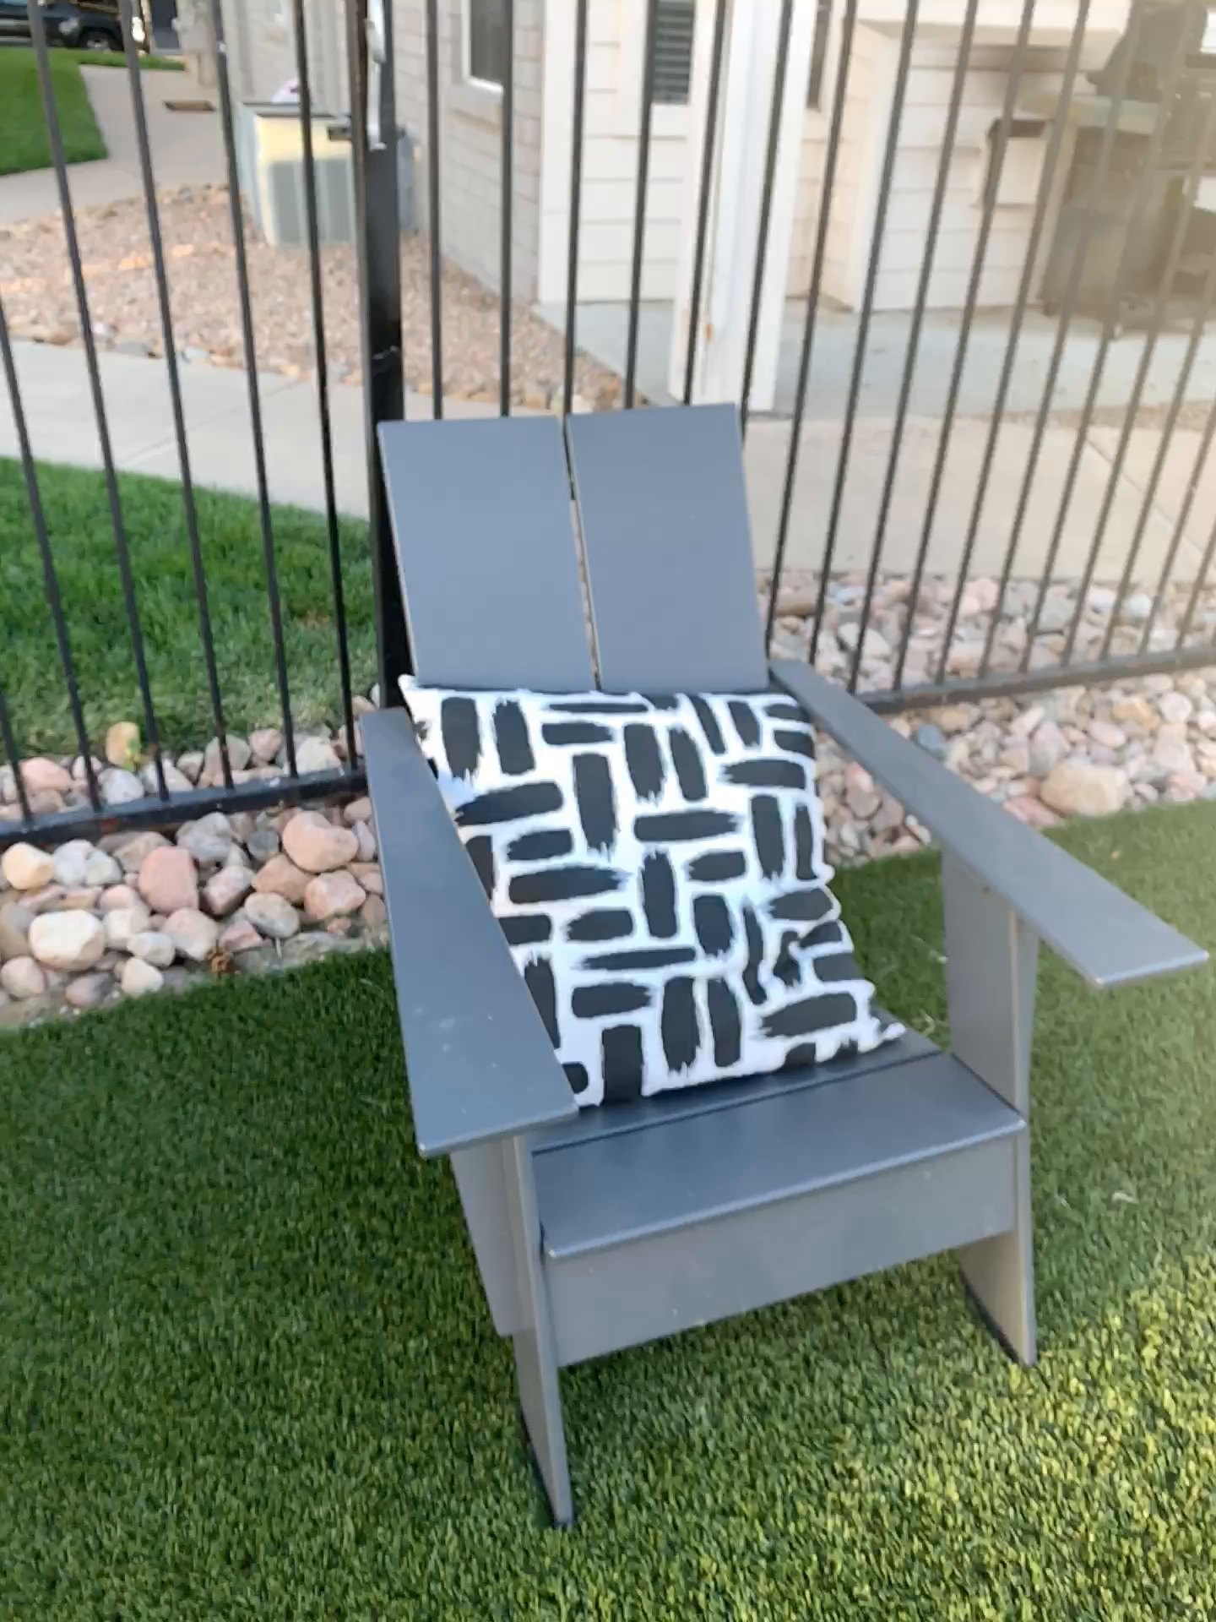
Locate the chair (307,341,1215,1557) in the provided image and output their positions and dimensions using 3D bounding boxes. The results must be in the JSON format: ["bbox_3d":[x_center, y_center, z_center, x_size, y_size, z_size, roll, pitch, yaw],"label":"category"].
[{"bbox_3d":[0.088,0.038,1.318,0.620,0.806,0.884,-8,35,-17],"label":"chair"}]
